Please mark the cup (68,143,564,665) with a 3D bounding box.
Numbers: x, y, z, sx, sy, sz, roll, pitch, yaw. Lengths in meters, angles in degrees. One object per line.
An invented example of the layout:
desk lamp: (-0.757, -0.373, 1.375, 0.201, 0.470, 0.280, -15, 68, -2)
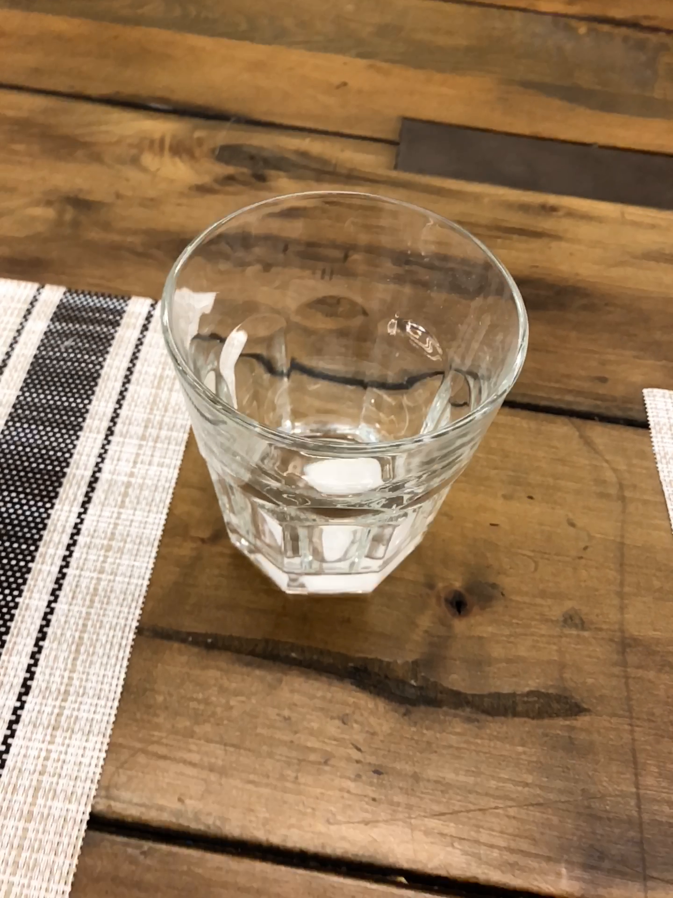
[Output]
cup: (-0.001, -0.013, 0.205, 0.087, 0.081, 0.090, 2, 53, -3)
